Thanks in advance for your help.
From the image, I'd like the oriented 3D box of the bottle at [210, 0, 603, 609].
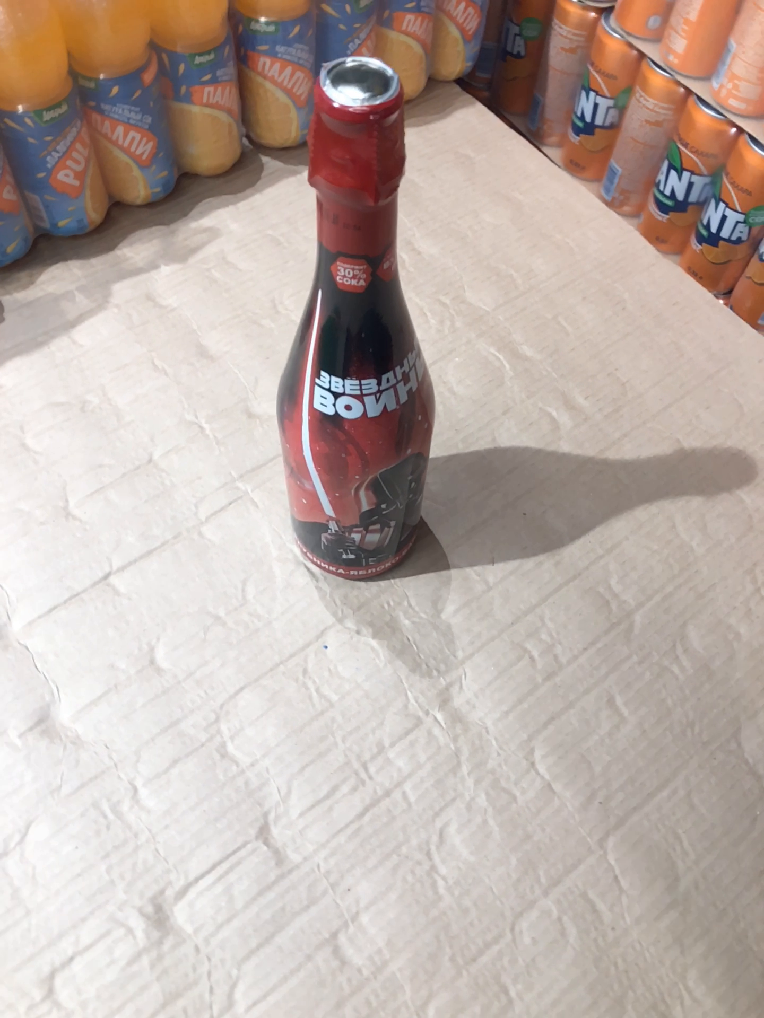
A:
[{"bbox_3d":[-0.001,-0.063,0.377,0.086,0.279,0.085,2,61,-3],"label":"bottle"}]
